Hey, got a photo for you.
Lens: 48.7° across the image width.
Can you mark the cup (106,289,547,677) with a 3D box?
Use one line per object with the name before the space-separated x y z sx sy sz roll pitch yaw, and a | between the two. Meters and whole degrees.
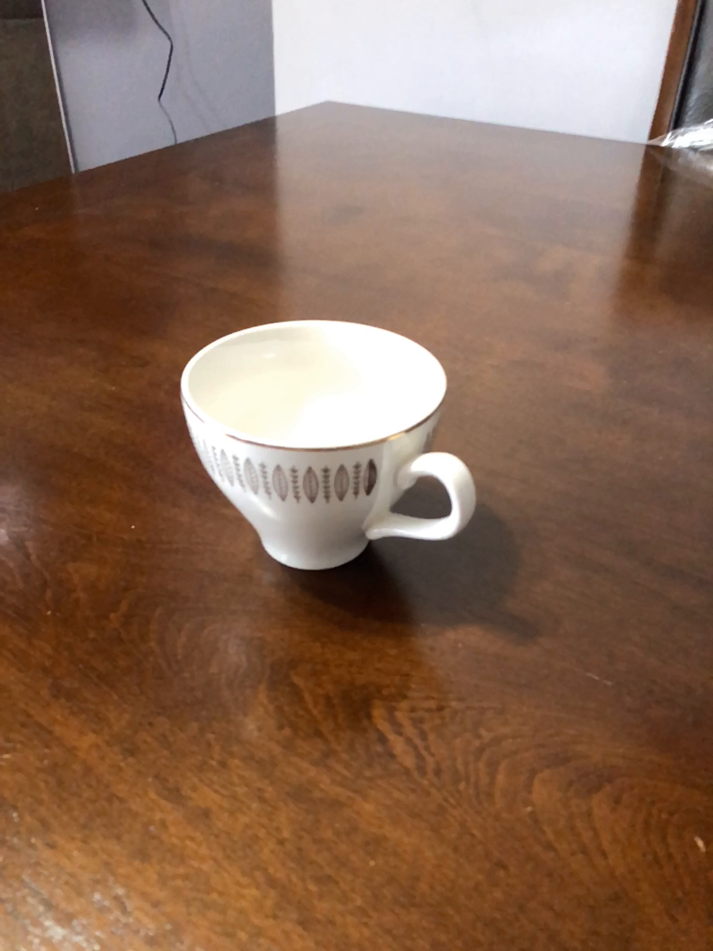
cup | -0.008 -0.007 0.257 0.100 0.060 0.090 23 40 27
